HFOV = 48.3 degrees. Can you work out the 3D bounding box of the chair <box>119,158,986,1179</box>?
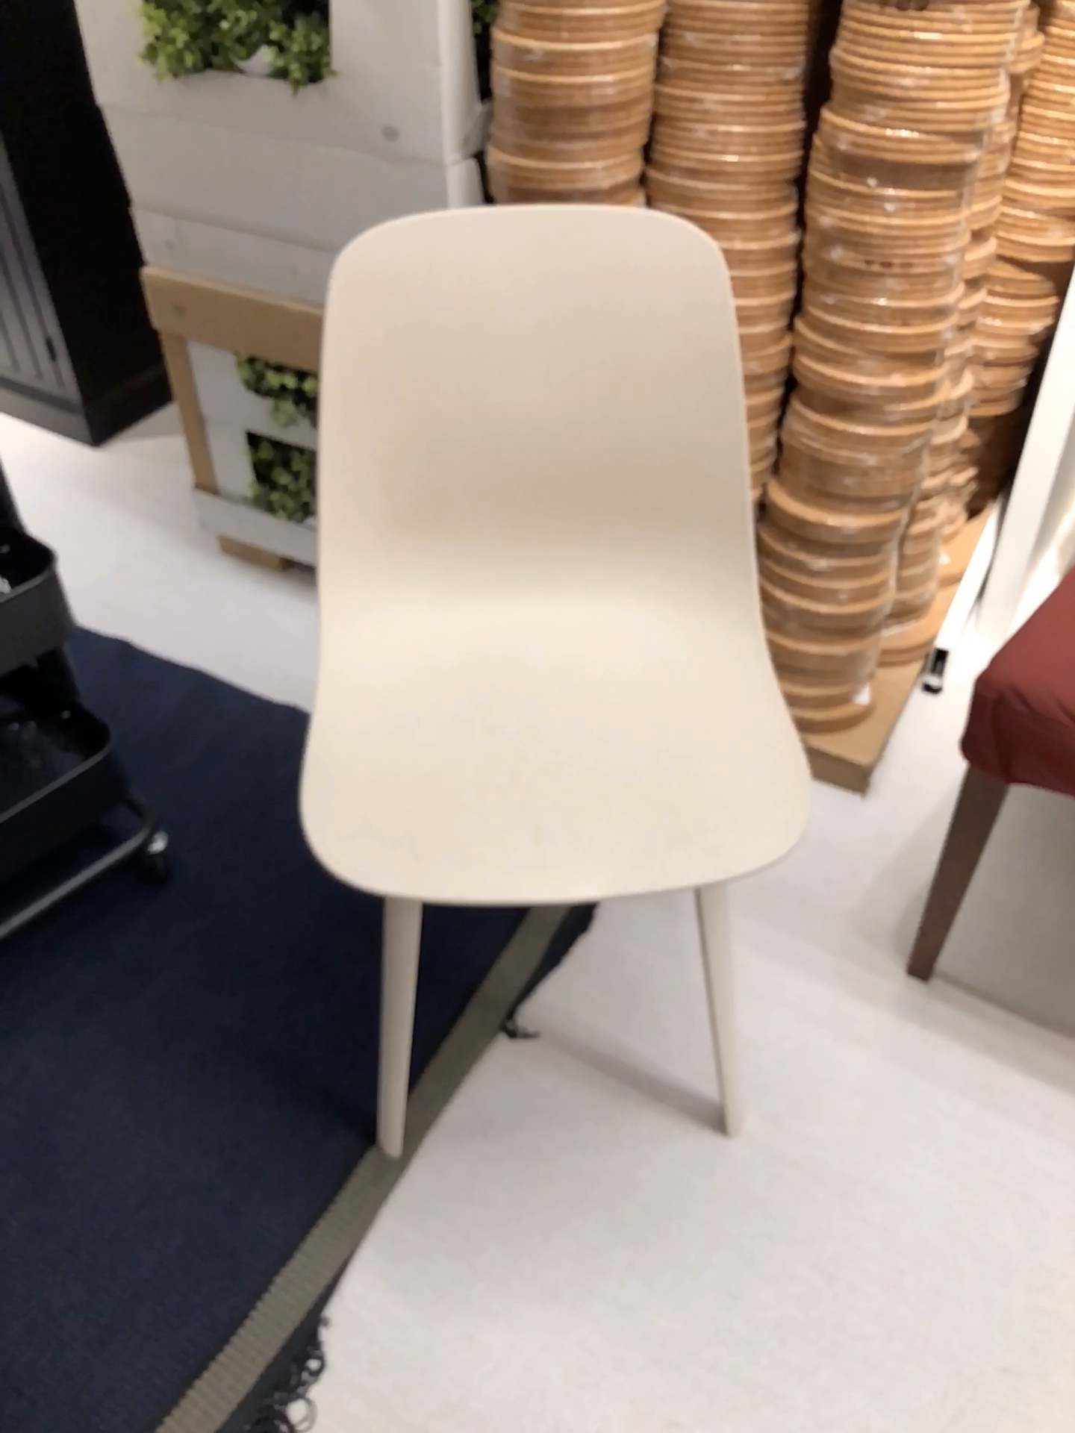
[{"bbox_3d":[0.006,-0.020,1.037,0.450,0.695,0.493,-5,43,-1],"label":"chair"}]
